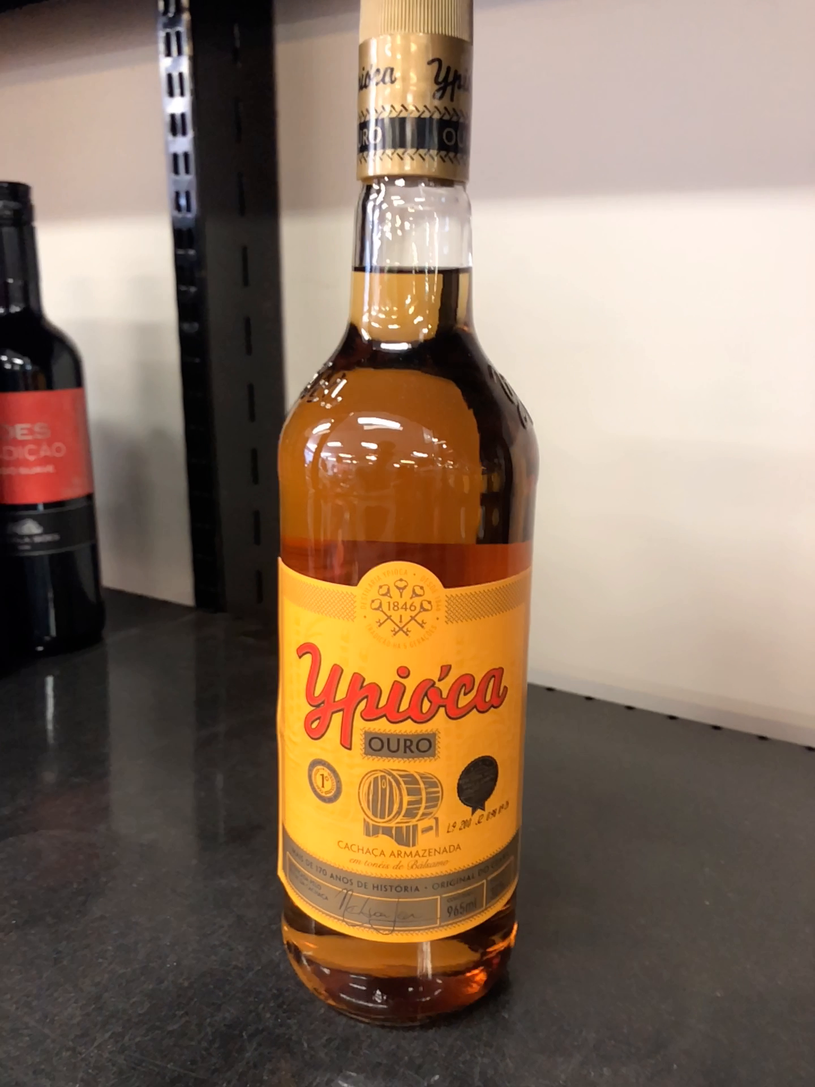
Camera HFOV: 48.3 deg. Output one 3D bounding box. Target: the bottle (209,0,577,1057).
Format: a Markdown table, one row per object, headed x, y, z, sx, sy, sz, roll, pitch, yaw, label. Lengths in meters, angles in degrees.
| x | y | z | sx | sy | sz | roll | pitch | yaw | label |
| --- | --- | --- | --- | --- | --- | --- | --- | --- | --- |
| -0.003 | -0.003 | 0.272 | 0.080 | 0.308 | 0.070 | 1 | 15 | 3 | bottle |
